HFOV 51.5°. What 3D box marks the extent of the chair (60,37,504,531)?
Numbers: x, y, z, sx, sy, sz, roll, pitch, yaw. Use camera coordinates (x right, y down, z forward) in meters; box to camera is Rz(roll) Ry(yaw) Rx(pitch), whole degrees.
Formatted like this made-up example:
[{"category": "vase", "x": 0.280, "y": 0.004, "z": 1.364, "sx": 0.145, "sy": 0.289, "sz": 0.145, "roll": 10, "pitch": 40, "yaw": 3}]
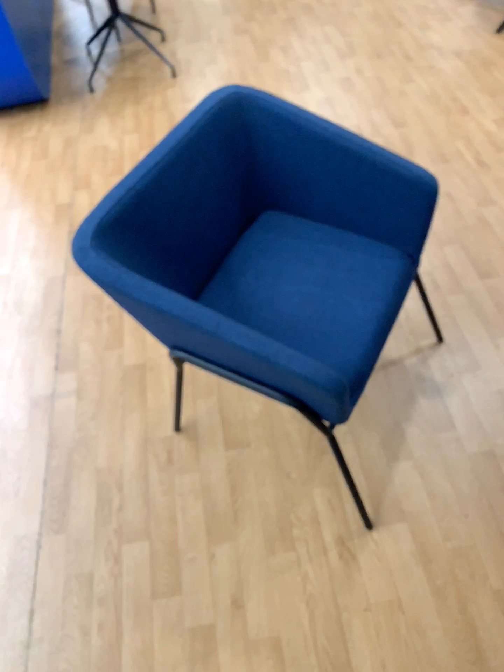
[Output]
[{"category": "chair", "x": 0.181, "y": -0.141, "z": 1.241, "sx": 0.752, "sy": 0.685, "sz": 0.703, "roll": 21, "pitch": 57, "yaw": 20}]
